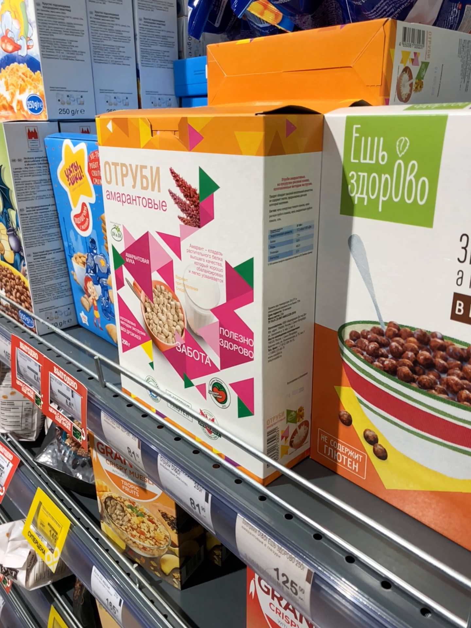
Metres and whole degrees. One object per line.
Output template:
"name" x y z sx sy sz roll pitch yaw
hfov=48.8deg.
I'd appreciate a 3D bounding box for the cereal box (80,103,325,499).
"cereal box" -0.033 -0.024 0.410 0.060 0.259 0.201 -19 27 -39
